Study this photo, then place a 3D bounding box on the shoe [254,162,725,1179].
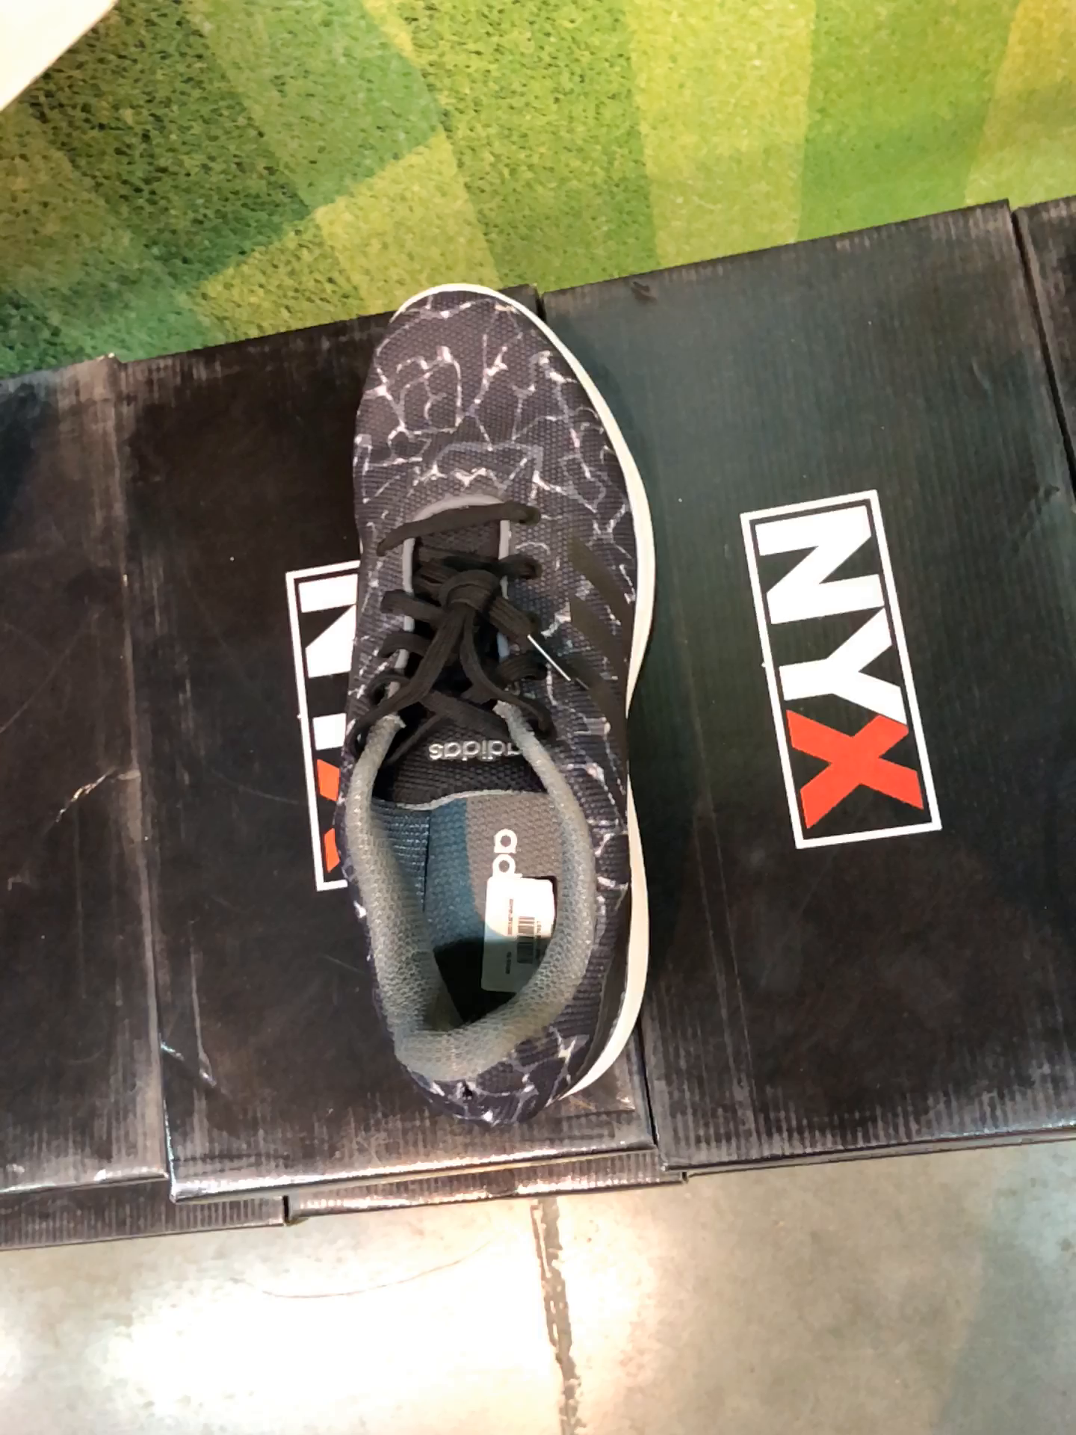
[{"bbox_3d":[-0.010,-0.008,0.367,0.108,0.122,0.261,-5,78,10],"label":"shoe"}]
